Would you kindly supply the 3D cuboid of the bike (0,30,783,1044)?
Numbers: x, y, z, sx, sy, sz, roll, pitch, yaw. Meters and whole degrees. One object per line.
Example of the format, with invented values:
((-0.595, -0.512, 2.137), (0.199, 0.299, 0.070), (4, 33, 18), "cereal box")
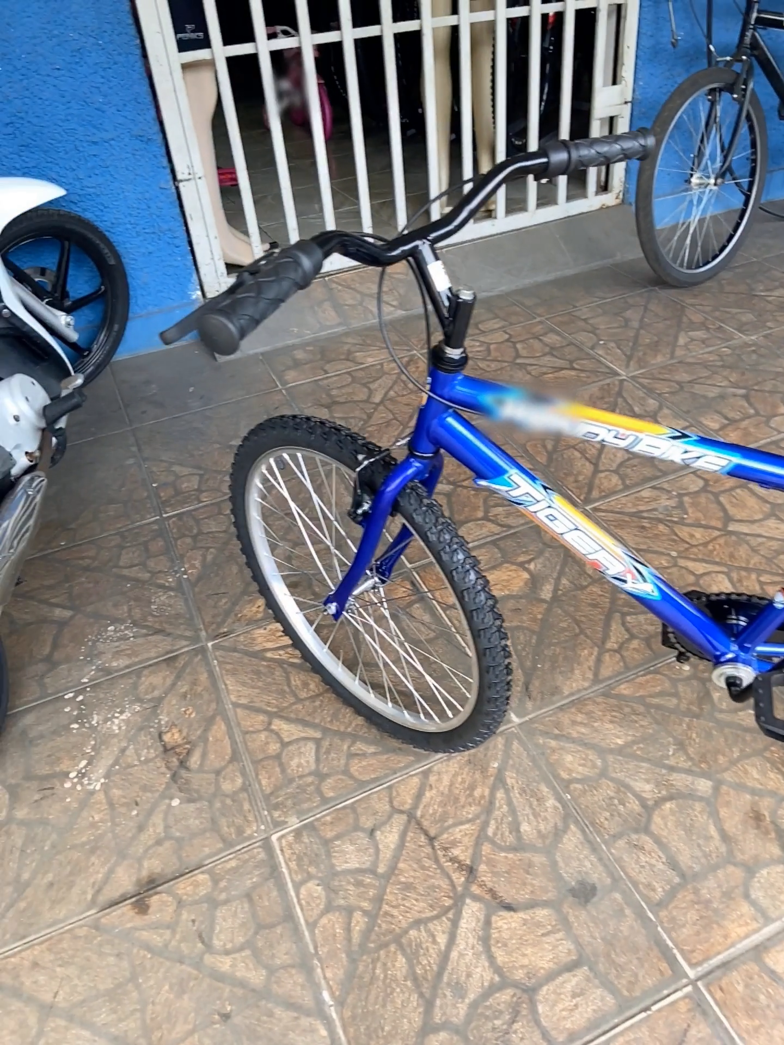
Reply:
((0.432, -0.010, 0.983), (1.487, 0.923, 0.626), (10, 39, 17), "bike")
